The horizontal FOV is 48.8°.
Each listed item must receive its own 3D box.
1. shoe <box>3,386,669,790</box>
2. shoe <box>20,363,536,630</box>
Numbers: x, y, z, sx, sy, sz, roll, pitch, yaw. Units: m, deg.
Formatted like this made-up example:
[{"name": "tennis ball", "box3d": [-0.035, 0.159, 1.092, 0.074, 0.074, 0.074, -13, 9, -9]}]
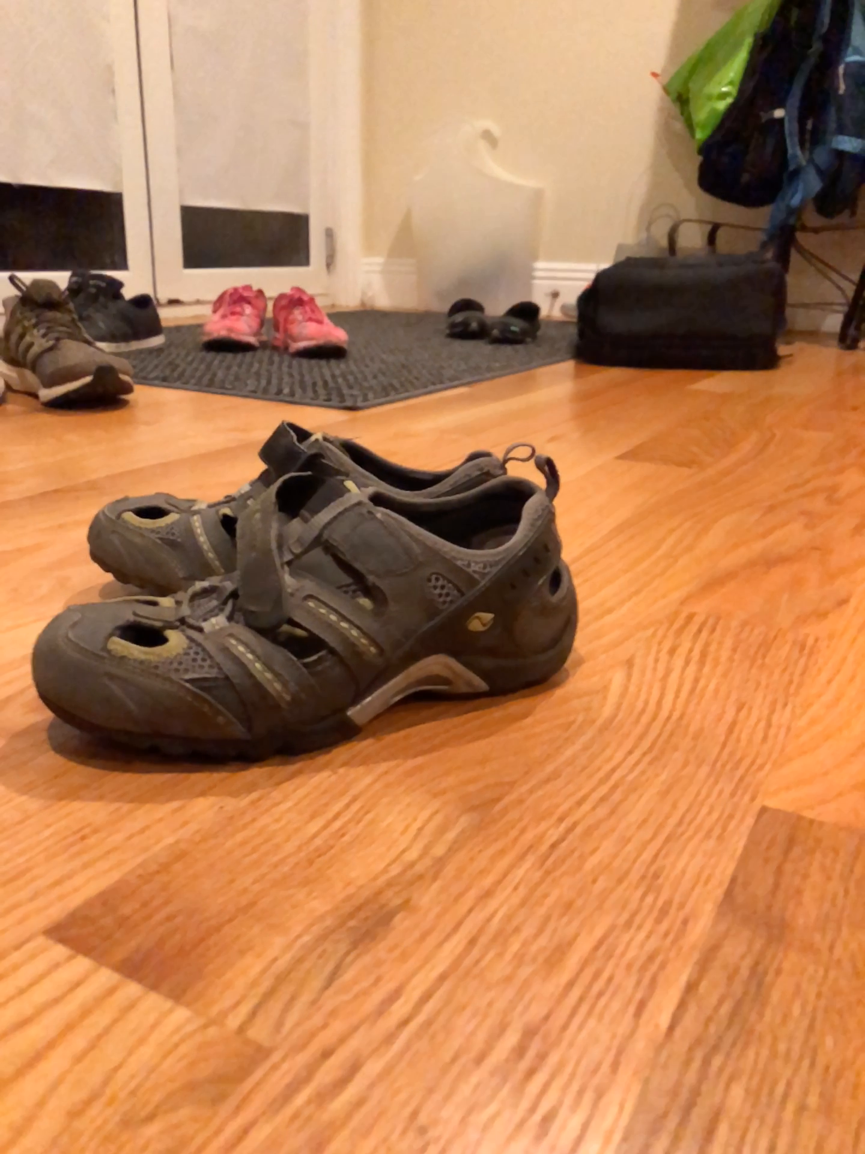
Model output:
[{"name": "shoe", "box3d": [-0.037, -0.012, 0.398, 0.245, 0.113, 0.100, -8, 20, -25]}, {"name": "shoe", "box3d": [-0.072, -0.049, 0.512, 0.245, 0.113, 0.101, 2, 18, 4]}]
